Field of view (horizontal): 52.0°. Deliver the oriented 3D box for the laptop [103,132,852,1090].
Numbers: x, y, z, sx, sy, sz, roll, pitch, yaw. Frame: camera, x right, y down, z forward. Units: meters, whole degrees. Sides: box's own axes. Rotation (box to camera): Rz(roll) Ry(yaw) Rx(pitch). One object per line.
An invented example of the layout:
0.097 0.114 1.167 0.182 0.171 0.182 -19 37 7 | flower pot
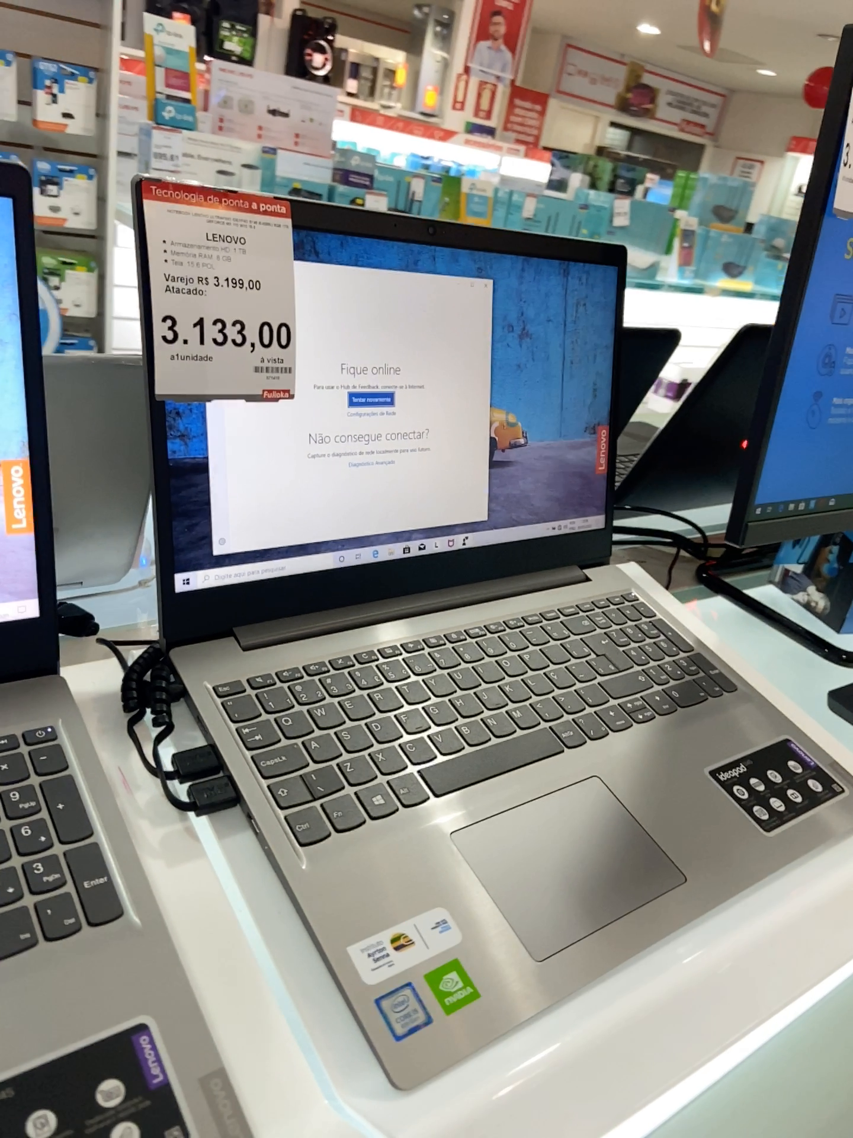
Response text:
0.059 -0.039 0.492 0.364 0.224 0.360 -8 38 -36 | laptop
